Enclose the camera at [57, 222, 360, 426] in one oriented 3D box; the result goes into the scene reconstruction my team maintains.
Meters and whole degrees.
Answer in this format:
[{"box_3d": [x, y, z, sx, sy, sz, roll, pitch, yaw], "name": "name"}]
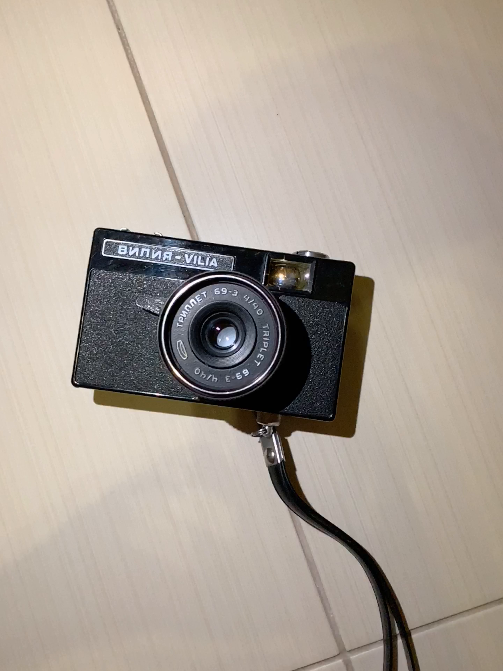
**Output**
[{"box_3d": [-0.019, -0.006, 0.247, 0.124, 0.041, 0.073, 8, 89, 3], "name": "camera"}]
